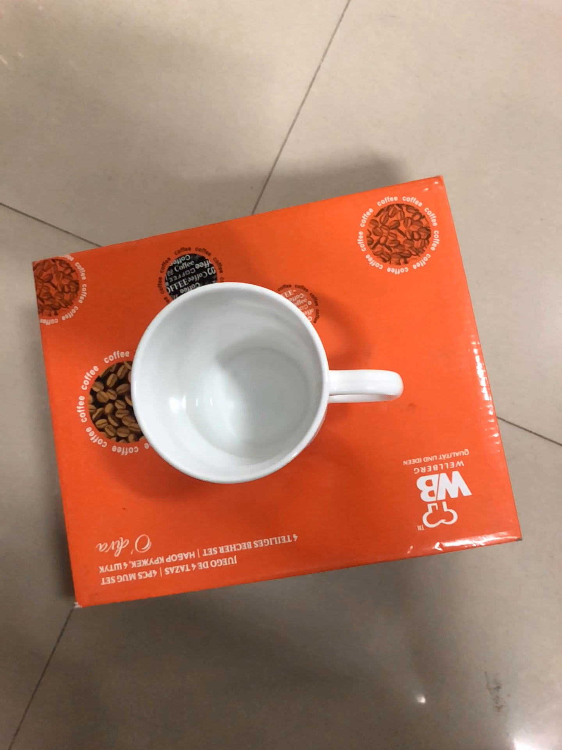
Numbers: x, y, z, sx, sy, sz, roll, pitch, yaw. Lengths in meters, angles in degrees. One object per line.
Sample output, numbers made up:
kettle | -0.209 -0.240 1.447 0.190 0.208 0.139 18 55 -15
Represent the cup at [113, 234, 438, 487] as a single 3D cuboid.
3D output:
cup | 0.000 -0.001 0.278 0.120 0.090 0.090 -2 85 6
